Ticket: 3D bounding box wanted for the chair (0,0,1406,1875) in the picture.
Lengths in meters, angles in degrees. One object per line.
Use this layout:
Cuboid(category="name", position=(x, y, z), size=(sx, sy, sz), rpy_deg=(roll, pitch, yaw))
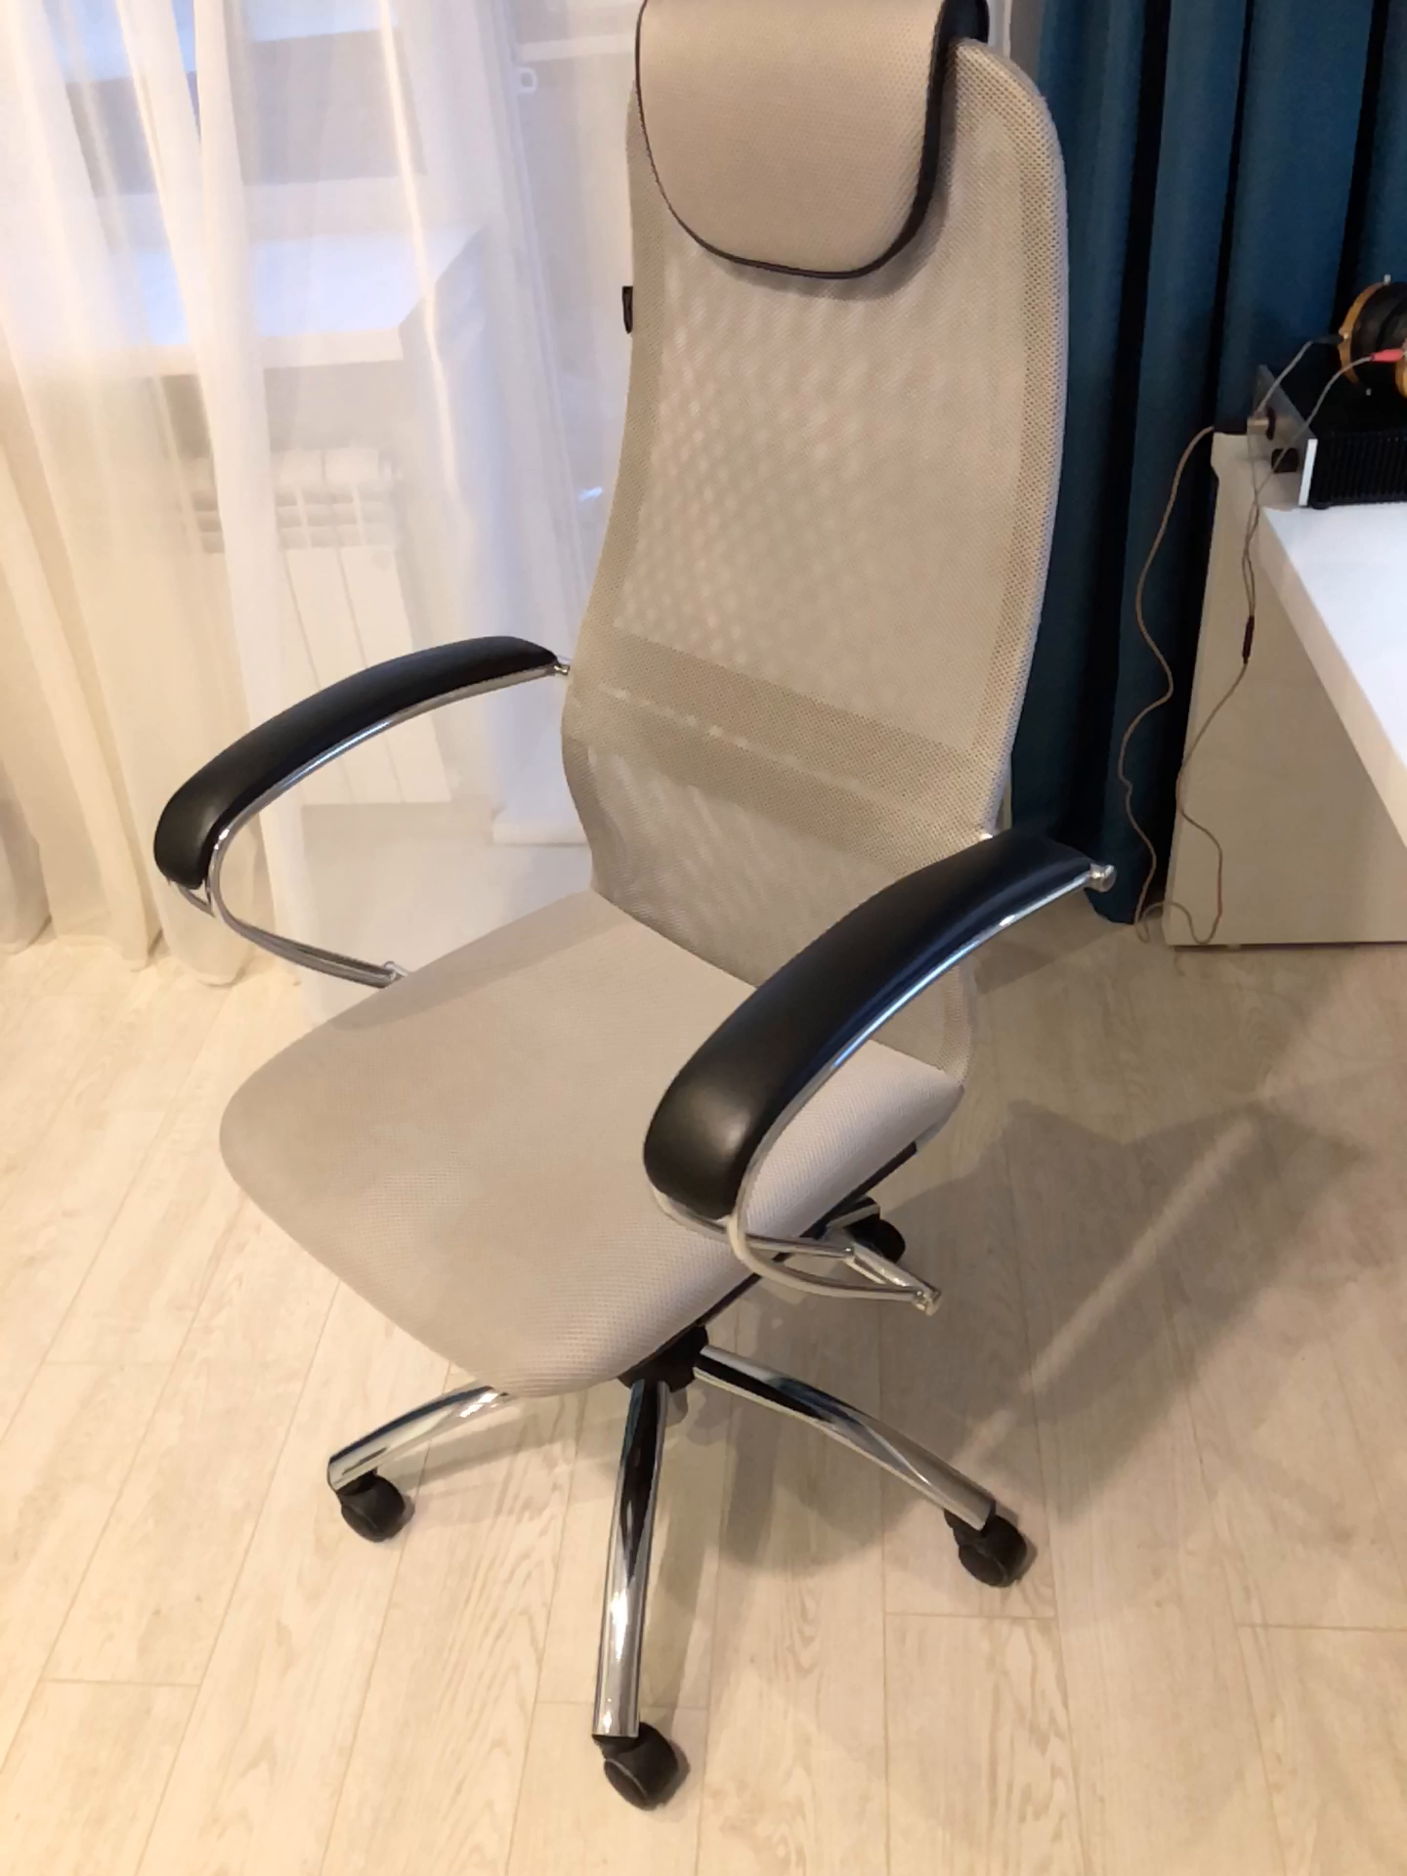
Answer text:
Cuboid(category="chair", position=(-0.028, 0.023, 1.225), size=(0.692, 1.291, 0.683), rpy_deg=(26, 47, 36))
